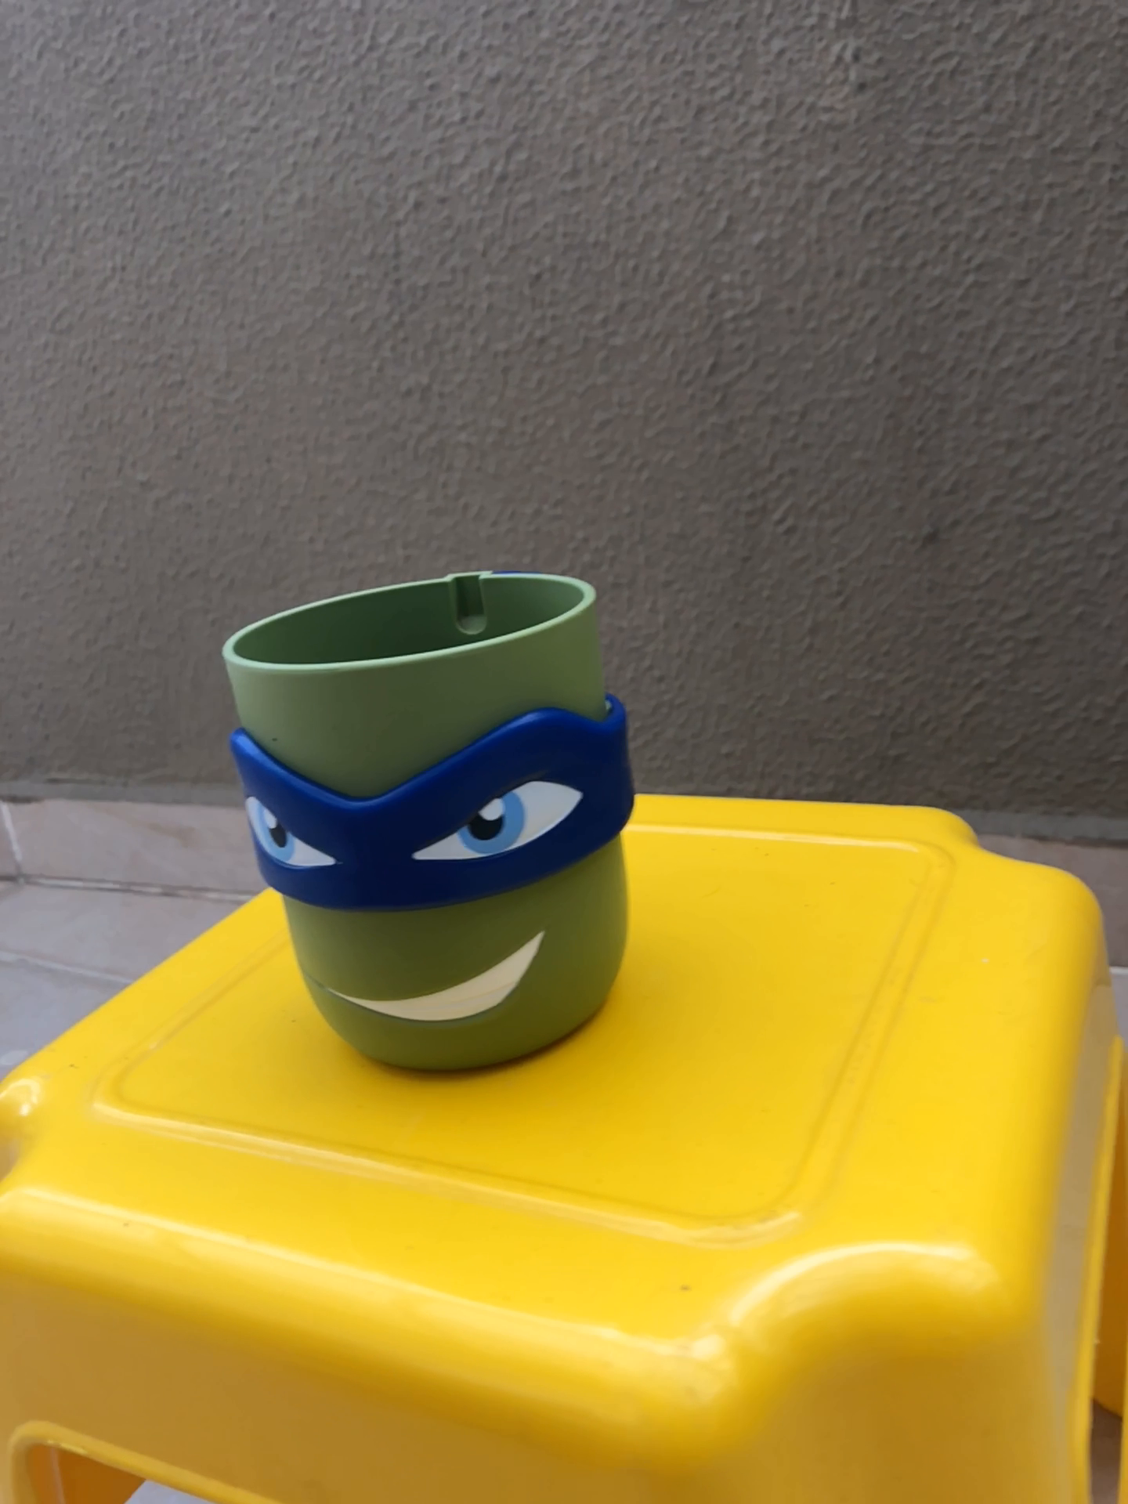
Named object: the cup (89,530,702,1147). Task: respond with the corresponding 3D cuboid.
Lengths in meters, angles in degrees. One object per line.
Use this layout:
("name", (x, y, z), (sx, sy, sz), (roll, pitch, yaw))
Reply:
("cup", (-0.024, 0.011, 0.270), (0.080, 0.090, 0.111), (-3, 18, 17))
